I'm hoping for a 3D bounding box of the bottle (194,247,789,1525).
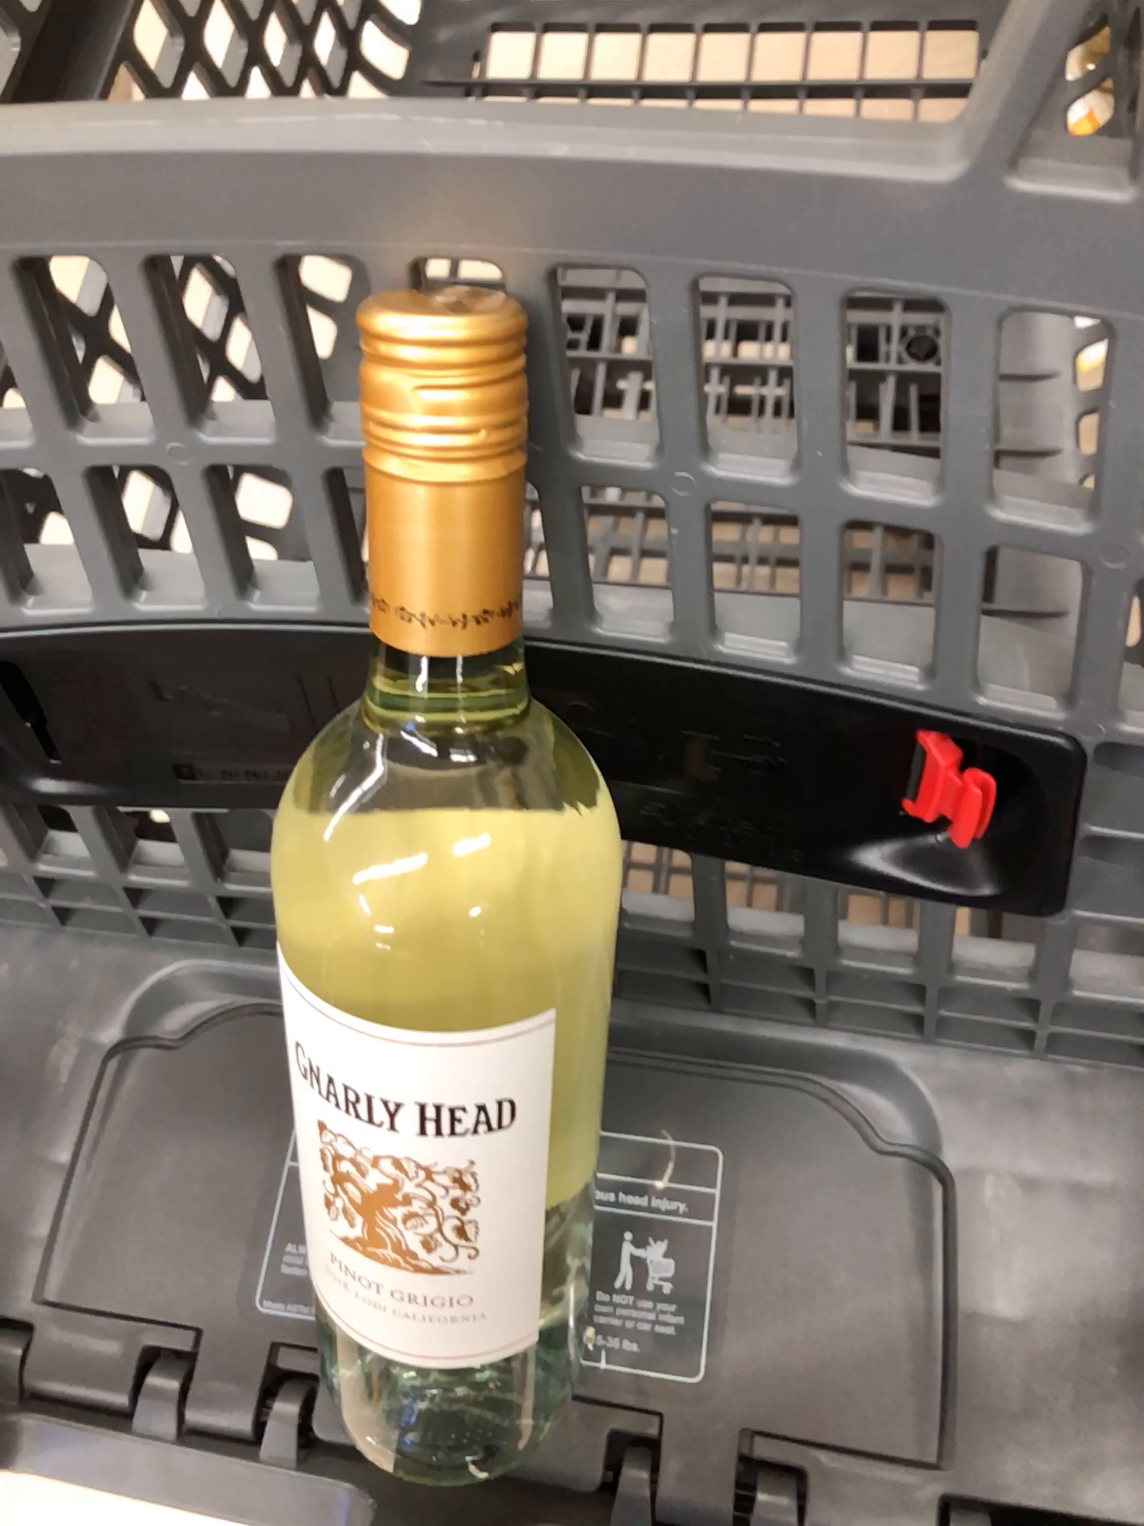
[{"bbox_3d":[-0.018,0.046,0.274,0.080,0.070,0.280,10,118,11],"label":"bottle"}]
